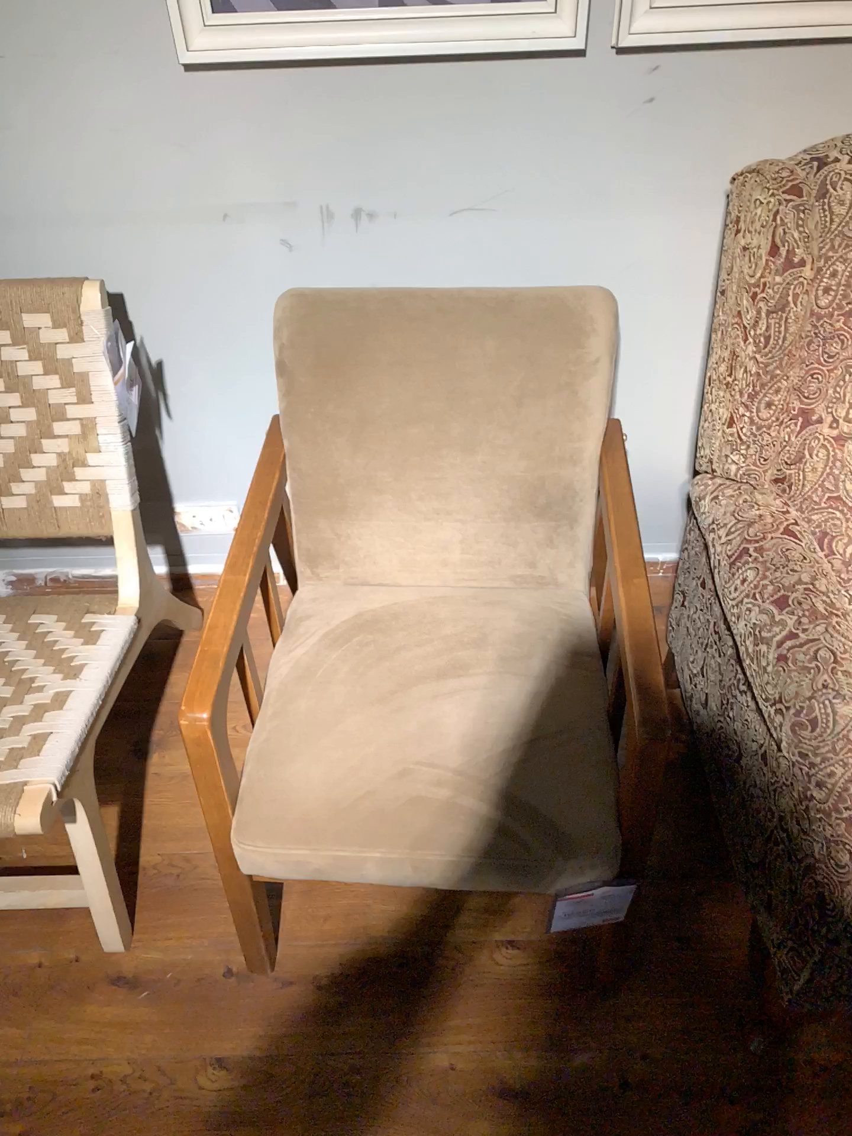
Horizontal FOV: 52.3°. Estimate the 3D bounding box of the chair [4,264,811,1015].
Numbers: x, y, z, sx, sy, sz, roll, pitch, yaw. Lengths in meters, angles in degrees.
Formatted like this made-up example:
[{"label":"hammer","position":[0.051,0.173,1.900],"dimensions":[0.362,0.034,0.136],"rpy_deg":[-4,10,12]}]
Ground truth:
[{"label":"chair","position":[0.001,0.084,1.341],"dimensions":[0.720,0.737,0.873],"rpy_deg":[0,44,3]}]
